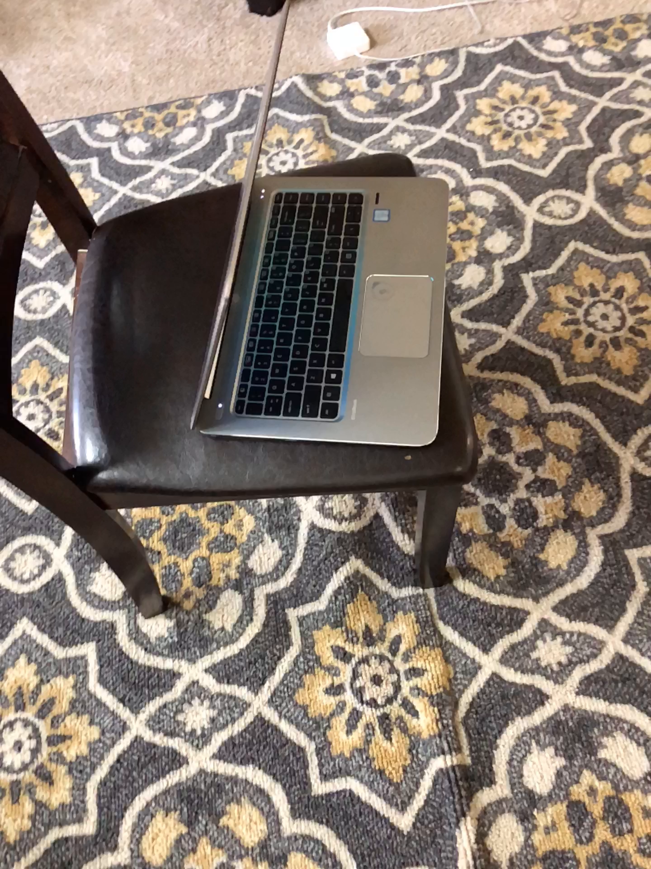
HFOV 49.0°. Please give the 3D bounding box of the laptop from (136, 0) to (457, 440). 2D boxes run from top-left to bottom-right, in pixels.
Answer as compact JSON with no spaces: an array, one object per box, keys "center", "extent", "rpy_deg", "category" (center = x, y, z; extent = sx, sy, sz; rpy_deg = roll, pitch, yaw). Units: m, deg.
[{"center":[0.001,-0.191,0.634],"extent":[0.211,0.194,0.323],"rpy_deg":[3,62,8],"category":"laptop"}]
